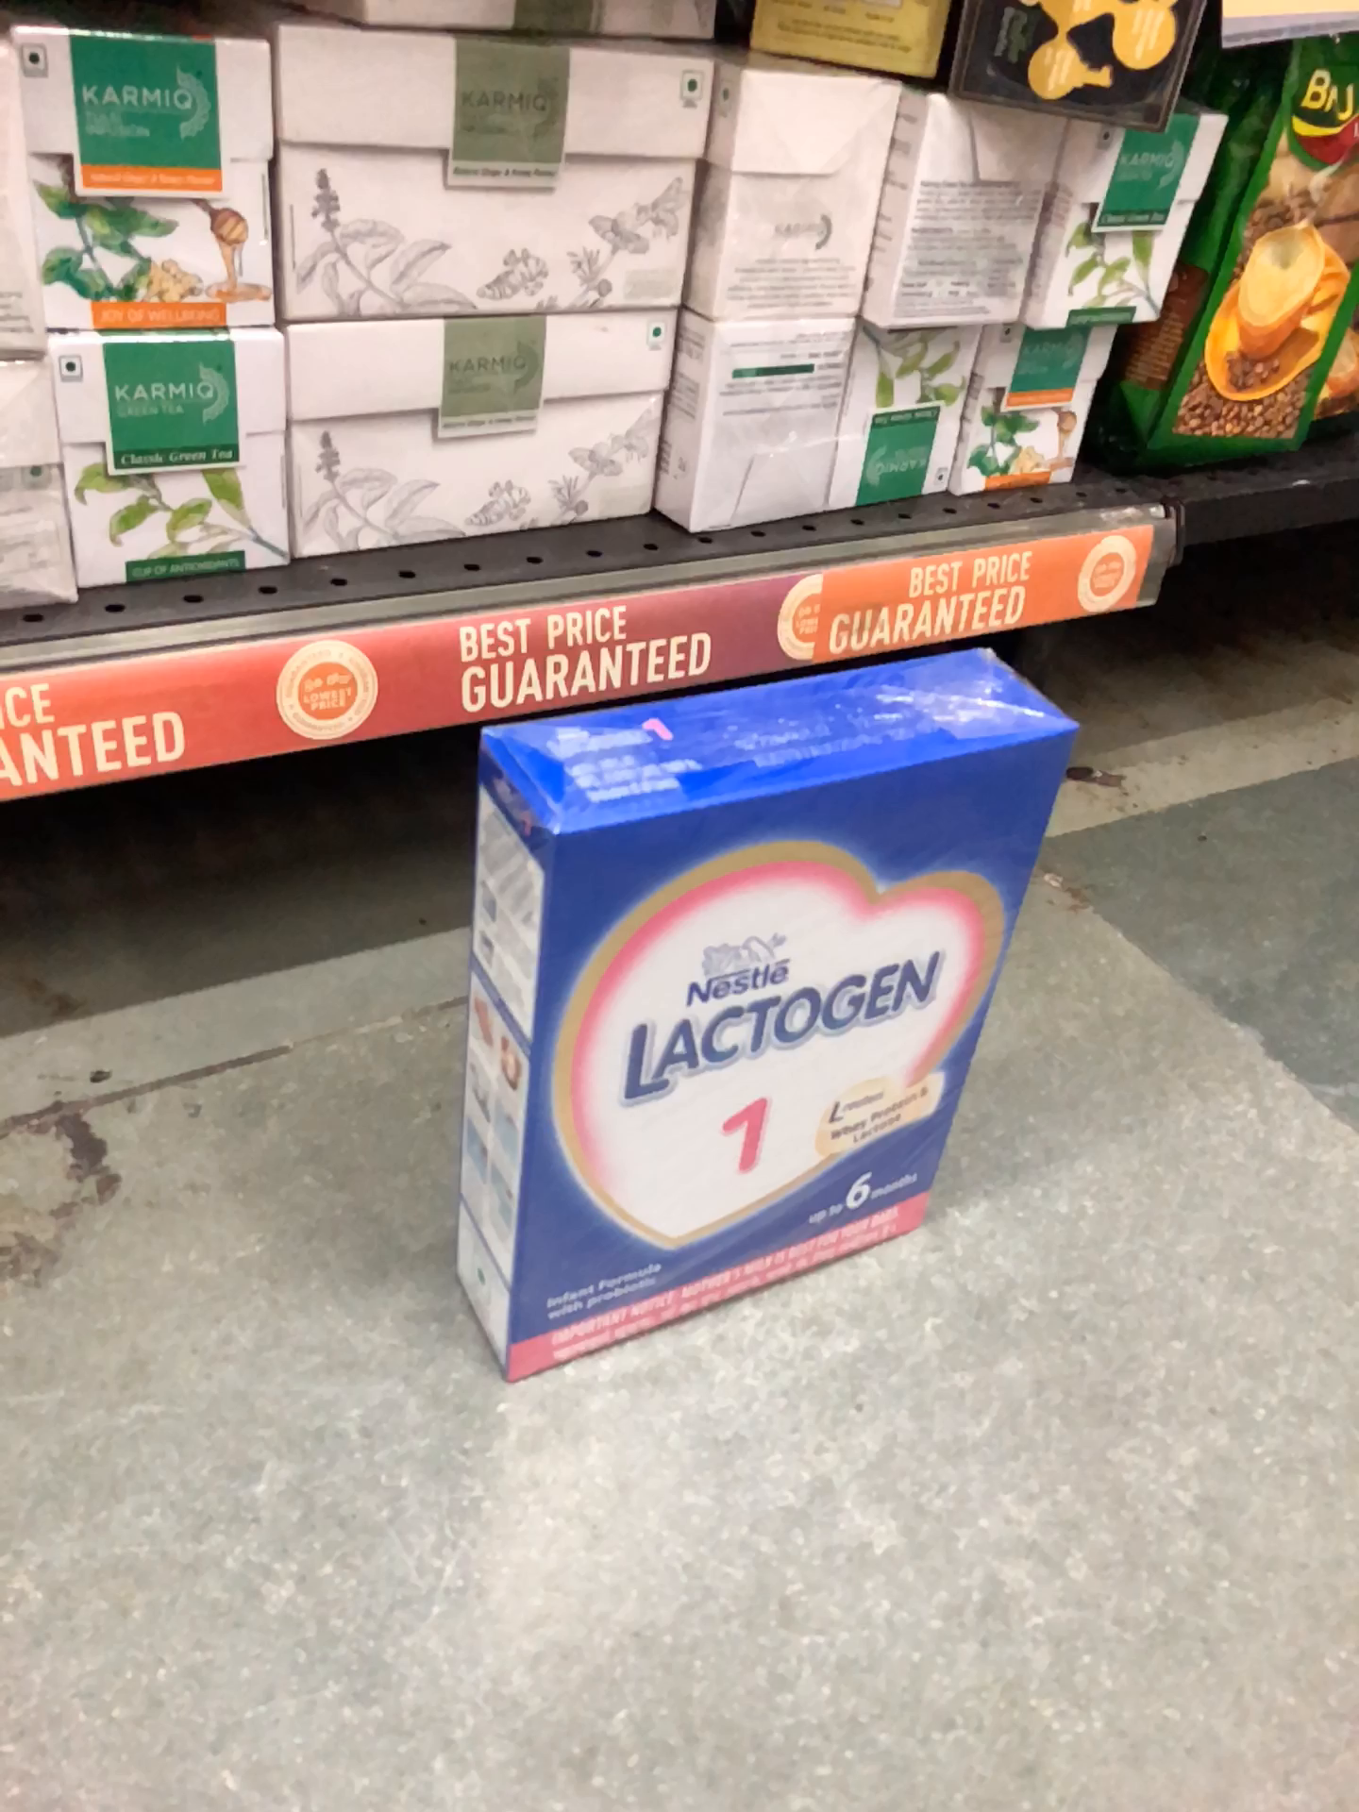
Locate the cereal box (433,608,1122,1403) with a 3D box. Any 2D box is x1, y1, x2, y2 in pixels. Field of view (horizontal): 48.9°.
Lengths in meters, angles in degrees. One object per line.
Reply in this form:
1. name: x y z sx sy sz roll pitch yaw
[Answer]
1. cereal box: 0.018 0.029 0.414 0.161 0.199 0.050 -13 41 -27
